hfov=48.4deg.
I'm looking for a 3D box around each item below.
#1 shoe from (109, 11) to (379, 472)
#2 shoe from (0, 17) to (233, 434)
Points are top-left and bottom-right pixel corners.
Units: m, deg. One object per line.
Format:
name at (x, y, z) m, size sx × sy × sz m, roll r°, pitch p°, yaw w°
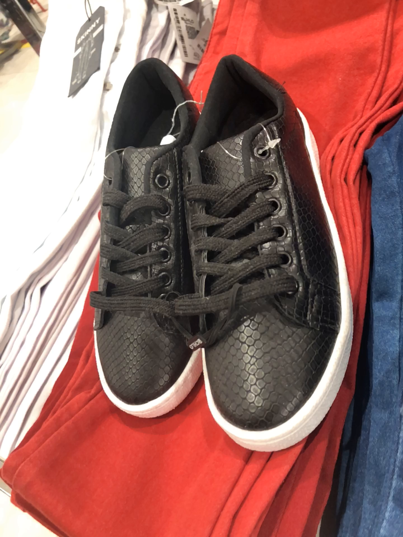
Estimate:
shoe at (0.034, -0.025, 0.266) m, size 0.090 × 0.099 × 0.251 m, roll -10°, pitch 53°, yaw 21°
shoe at (-0.044, -0.026, 0.305) m, size 0.090 × 0.099 × 0.251 m, roll -3°, pitch 68°, yaw 21°
